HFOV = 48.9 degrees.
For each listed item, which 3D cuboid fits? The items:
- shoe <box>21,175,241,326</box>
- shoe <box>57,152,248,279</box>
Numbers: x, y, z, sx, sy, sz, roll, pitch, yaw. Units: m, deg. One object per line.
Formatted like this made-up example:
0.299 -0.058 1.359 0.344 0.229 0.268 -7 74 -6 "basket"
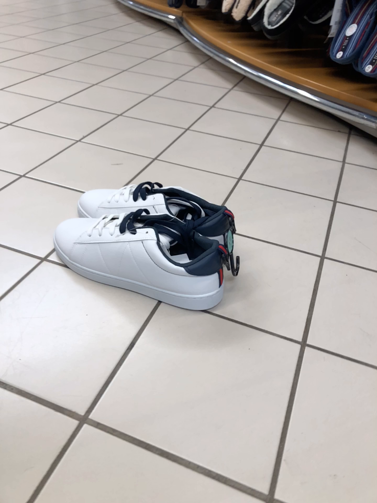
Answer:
-0.084 -0.011 0.602 0.290 0.099 0.101 18 39 17 "shoe"
-0.062 -0.068 0.690 0.290 0.099 0.101 18 39 17 "shoe"
